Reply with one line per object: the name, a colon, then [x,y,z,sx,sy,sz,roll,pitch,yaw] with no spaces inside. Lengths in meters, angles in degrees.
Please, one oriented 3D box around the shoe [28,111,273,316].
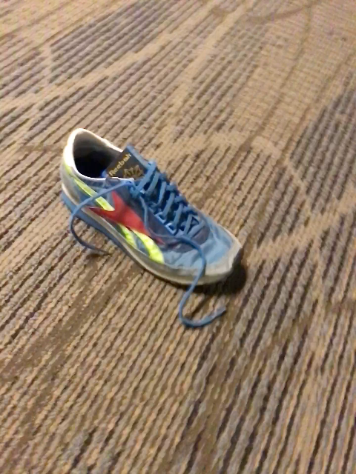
shoe: [-0.036,-0.032,0.467,0.259,0.095,0.101,31,57,11]
